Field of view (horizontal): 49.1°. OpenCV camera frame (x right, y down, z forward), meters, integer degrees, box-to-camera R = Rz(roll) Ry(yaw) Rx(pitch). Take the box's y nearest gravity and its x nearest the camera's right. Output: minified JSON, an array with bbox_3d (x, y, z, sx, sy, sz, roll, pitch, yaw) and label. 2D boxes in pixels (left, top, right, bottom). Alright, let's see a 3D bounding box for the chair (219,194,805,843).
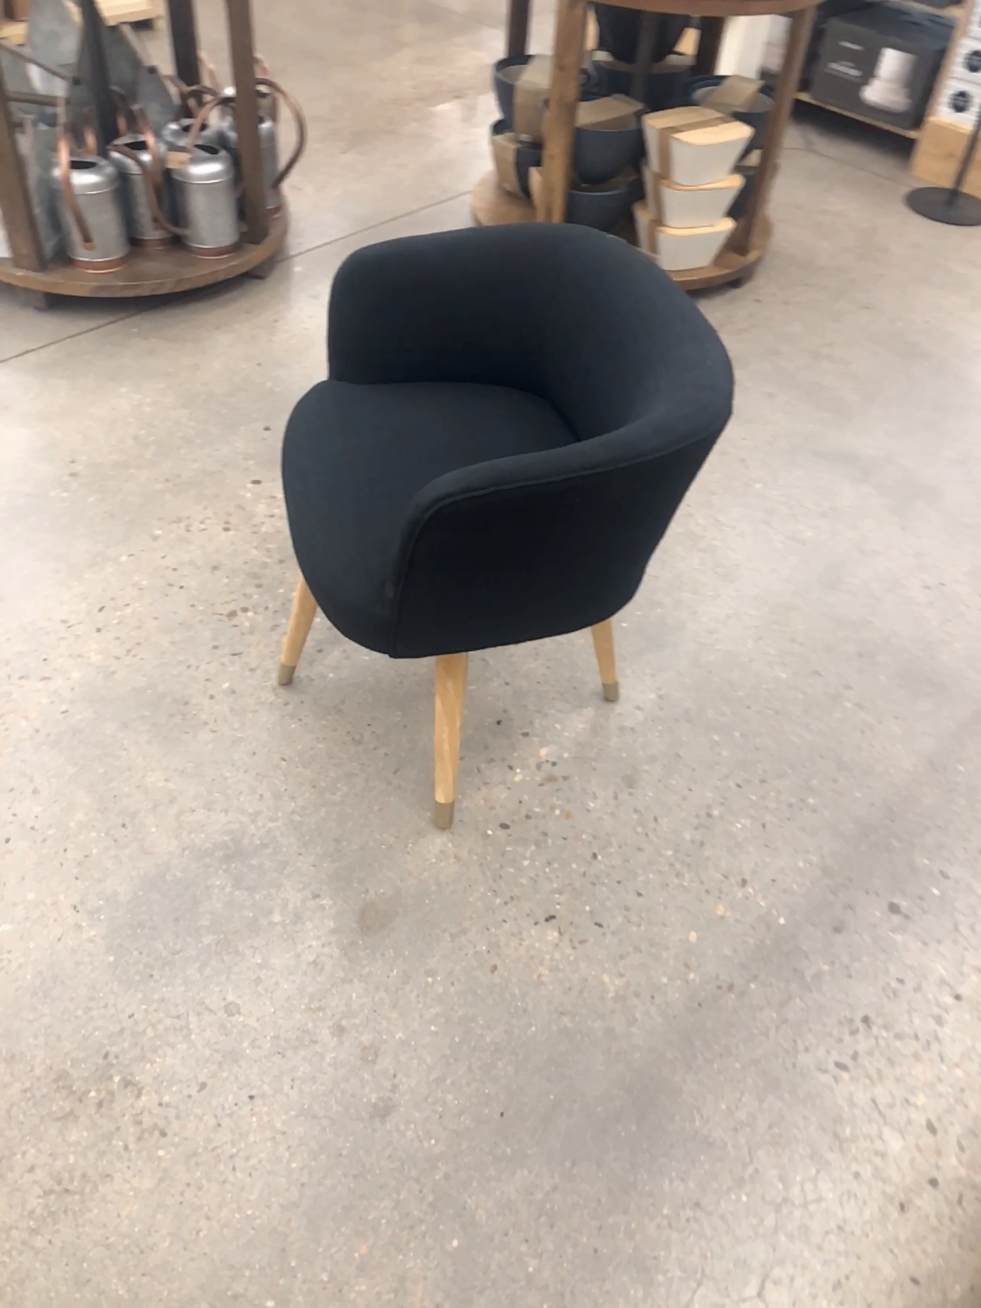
[{"bbox_3d":[-0.023,-0.193,1.538,0.603,0.670,0.604,-2,45,-7],"label":"chair"}]
